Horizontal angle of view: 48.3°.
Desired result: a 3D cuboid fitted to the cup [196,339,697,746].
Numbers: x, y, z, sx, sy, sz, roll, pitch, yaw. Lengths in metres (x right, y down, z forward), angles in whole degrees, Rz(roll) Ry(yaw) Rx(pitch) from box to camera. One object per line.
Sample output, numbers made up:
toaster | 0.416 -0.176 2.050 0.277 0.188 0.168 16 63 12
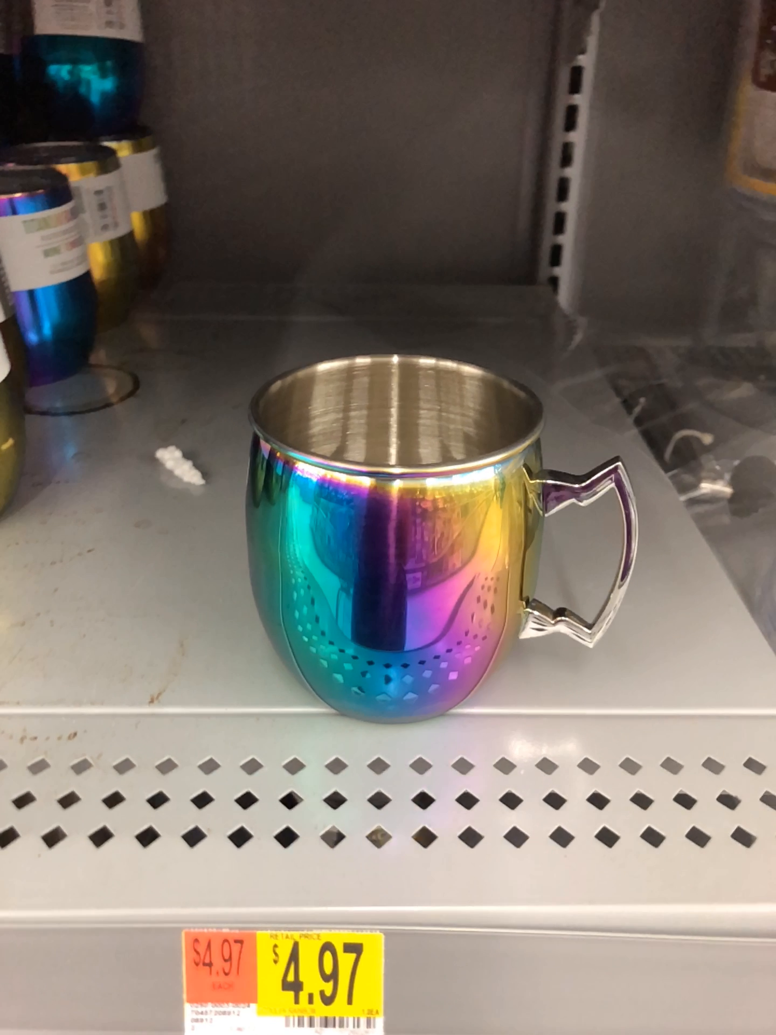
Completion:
cup | 0.015 0.005 0.300 0.133 0.097 0.104 1 32 -1
